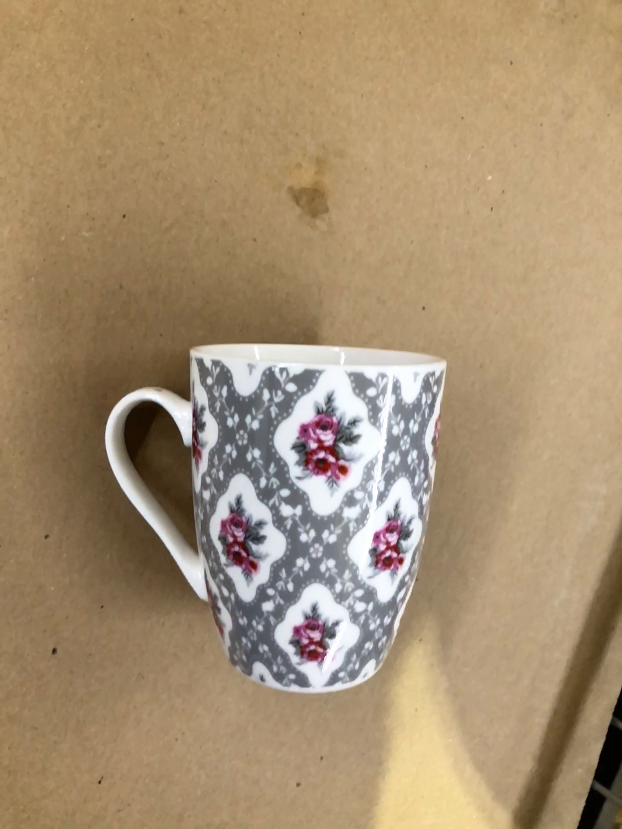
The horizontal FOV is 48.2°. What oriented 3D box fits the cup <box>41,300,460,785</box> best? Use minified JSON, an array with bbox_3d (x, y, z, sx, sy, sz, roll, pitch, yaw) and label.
[{"bbox_3d":[-0.011,0.025,0.206,0.100,0.080,0.110,4,98,11],"label":"cup"}]
